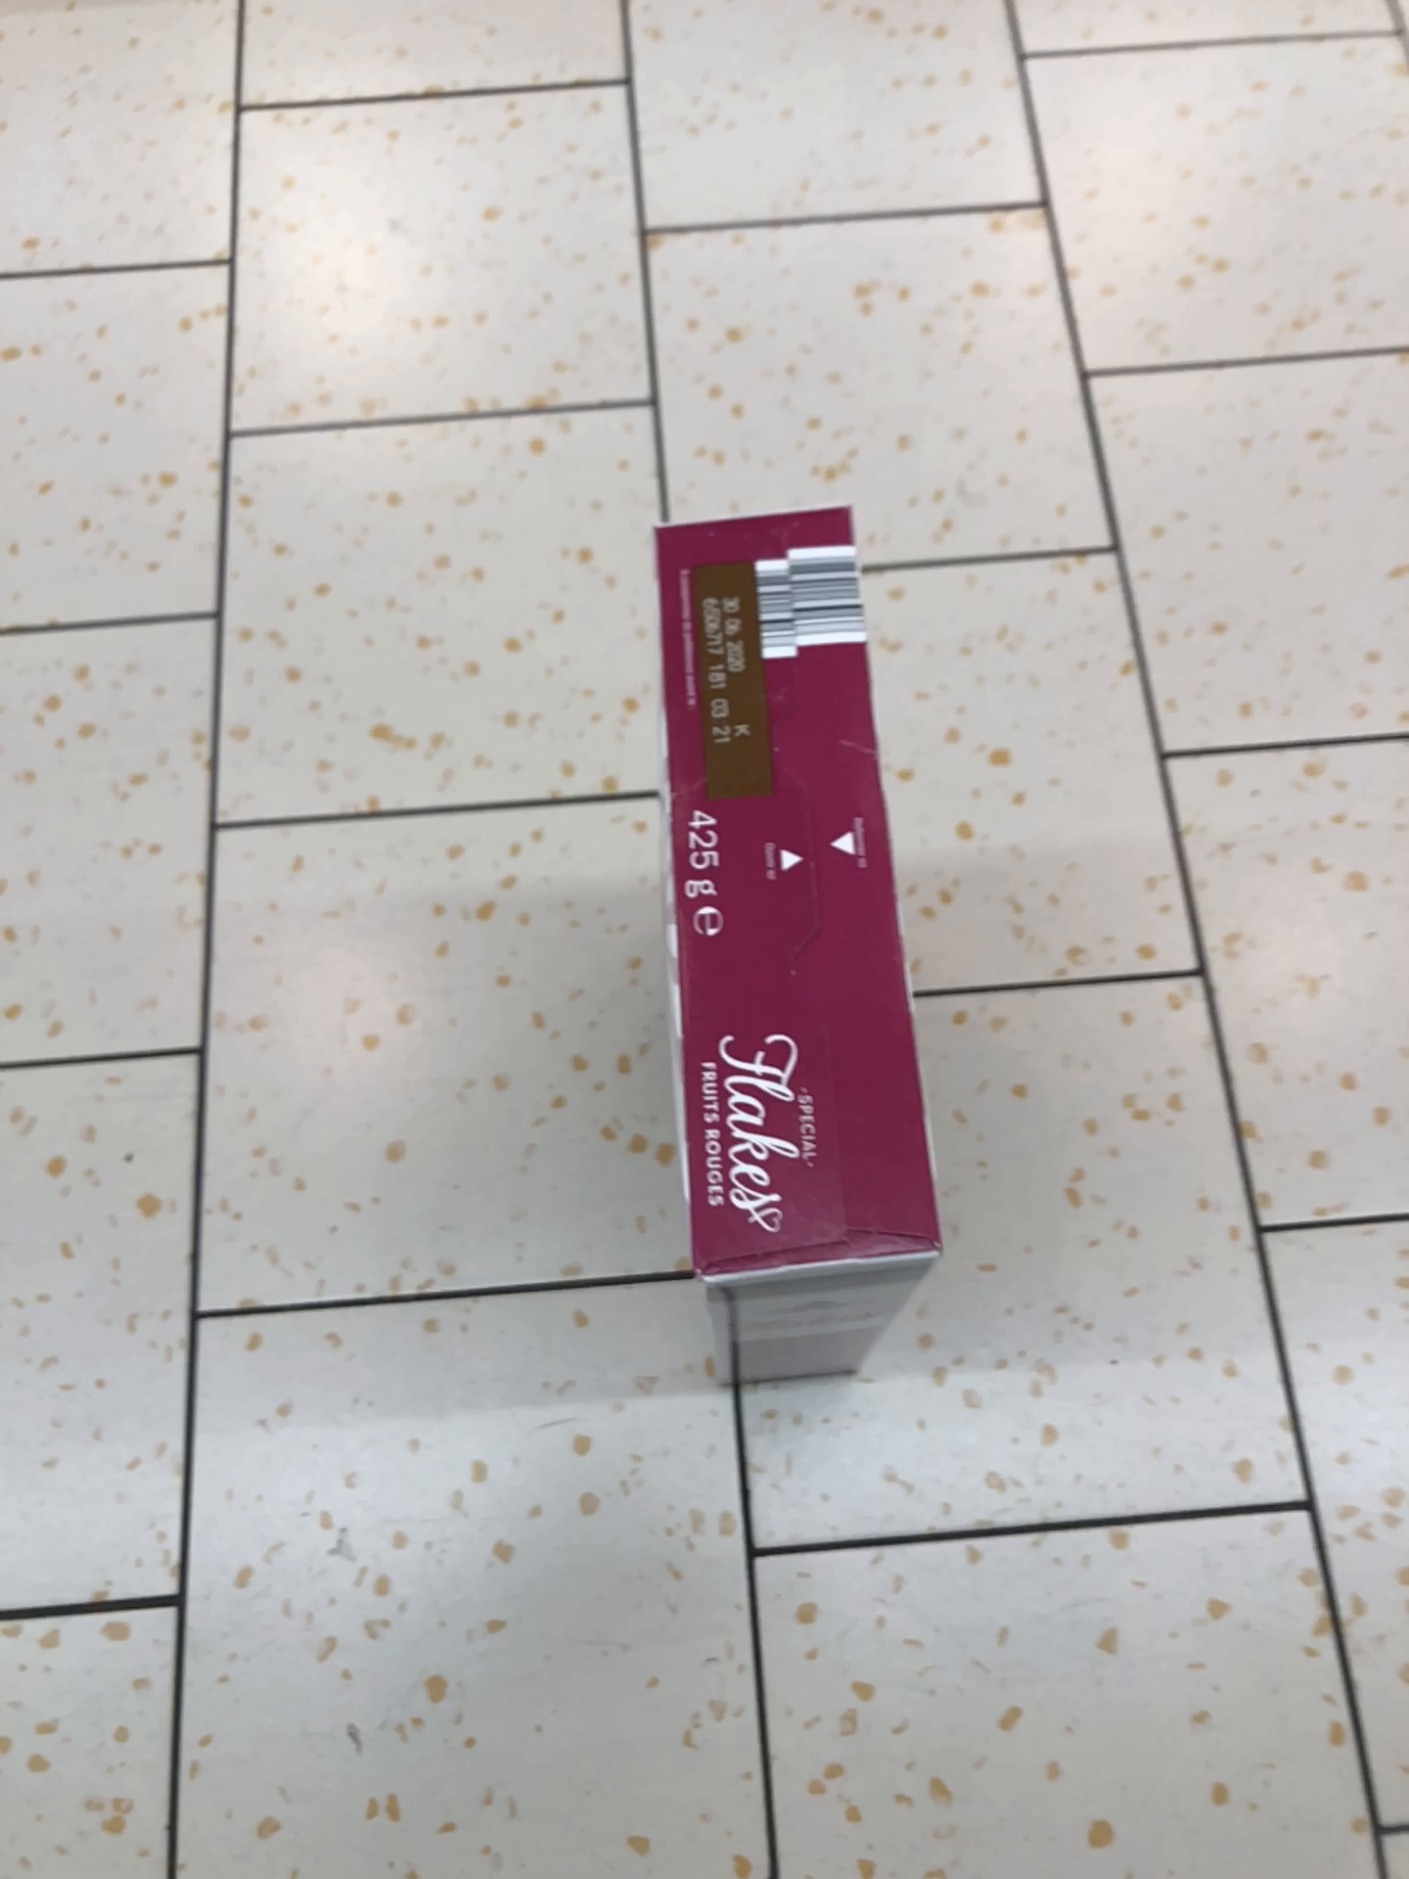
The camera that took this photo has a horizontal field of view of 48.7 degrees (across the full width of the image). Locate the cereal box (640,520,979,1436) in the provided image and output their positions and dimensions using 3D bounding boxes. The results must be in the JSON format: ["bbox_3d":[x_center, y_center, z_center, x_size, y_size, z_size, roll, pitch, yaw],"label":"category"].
[{"bbox_3d":[0.022,0.037,0.472,0.060,0.259,0.200,-4,69,0],"label":"cereal box"}]
